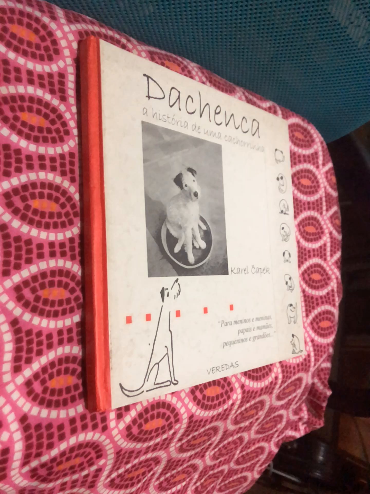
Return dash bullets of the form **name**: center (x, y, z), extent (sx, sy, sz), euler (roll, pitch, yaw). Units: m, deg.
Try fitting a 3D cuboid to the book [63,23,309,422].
- **book**: center (0.016, -0.014, 0.302), extent (0.207, 0.027, 0.216), euler (2, 81, -45)
